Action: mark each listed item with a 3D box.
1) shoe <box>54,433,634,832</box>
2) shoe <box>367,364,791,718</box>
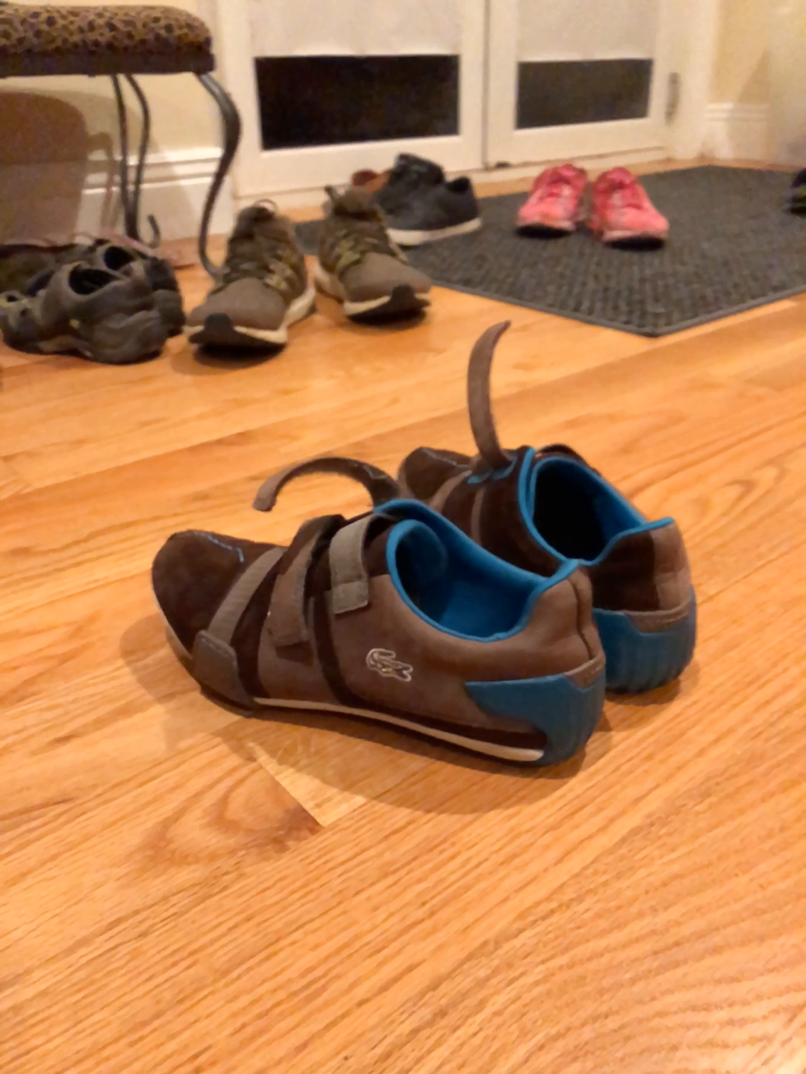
[{"bbox_3d":[-0.032,0.030,0.436,0.255,0.091,0.102,14,31,27],"label":"shoe"},{"bbox_3d":[0.082,-0.018,0.527,0.102,0.091,0.256,-14,30,-24],"label":"shoe"}]
